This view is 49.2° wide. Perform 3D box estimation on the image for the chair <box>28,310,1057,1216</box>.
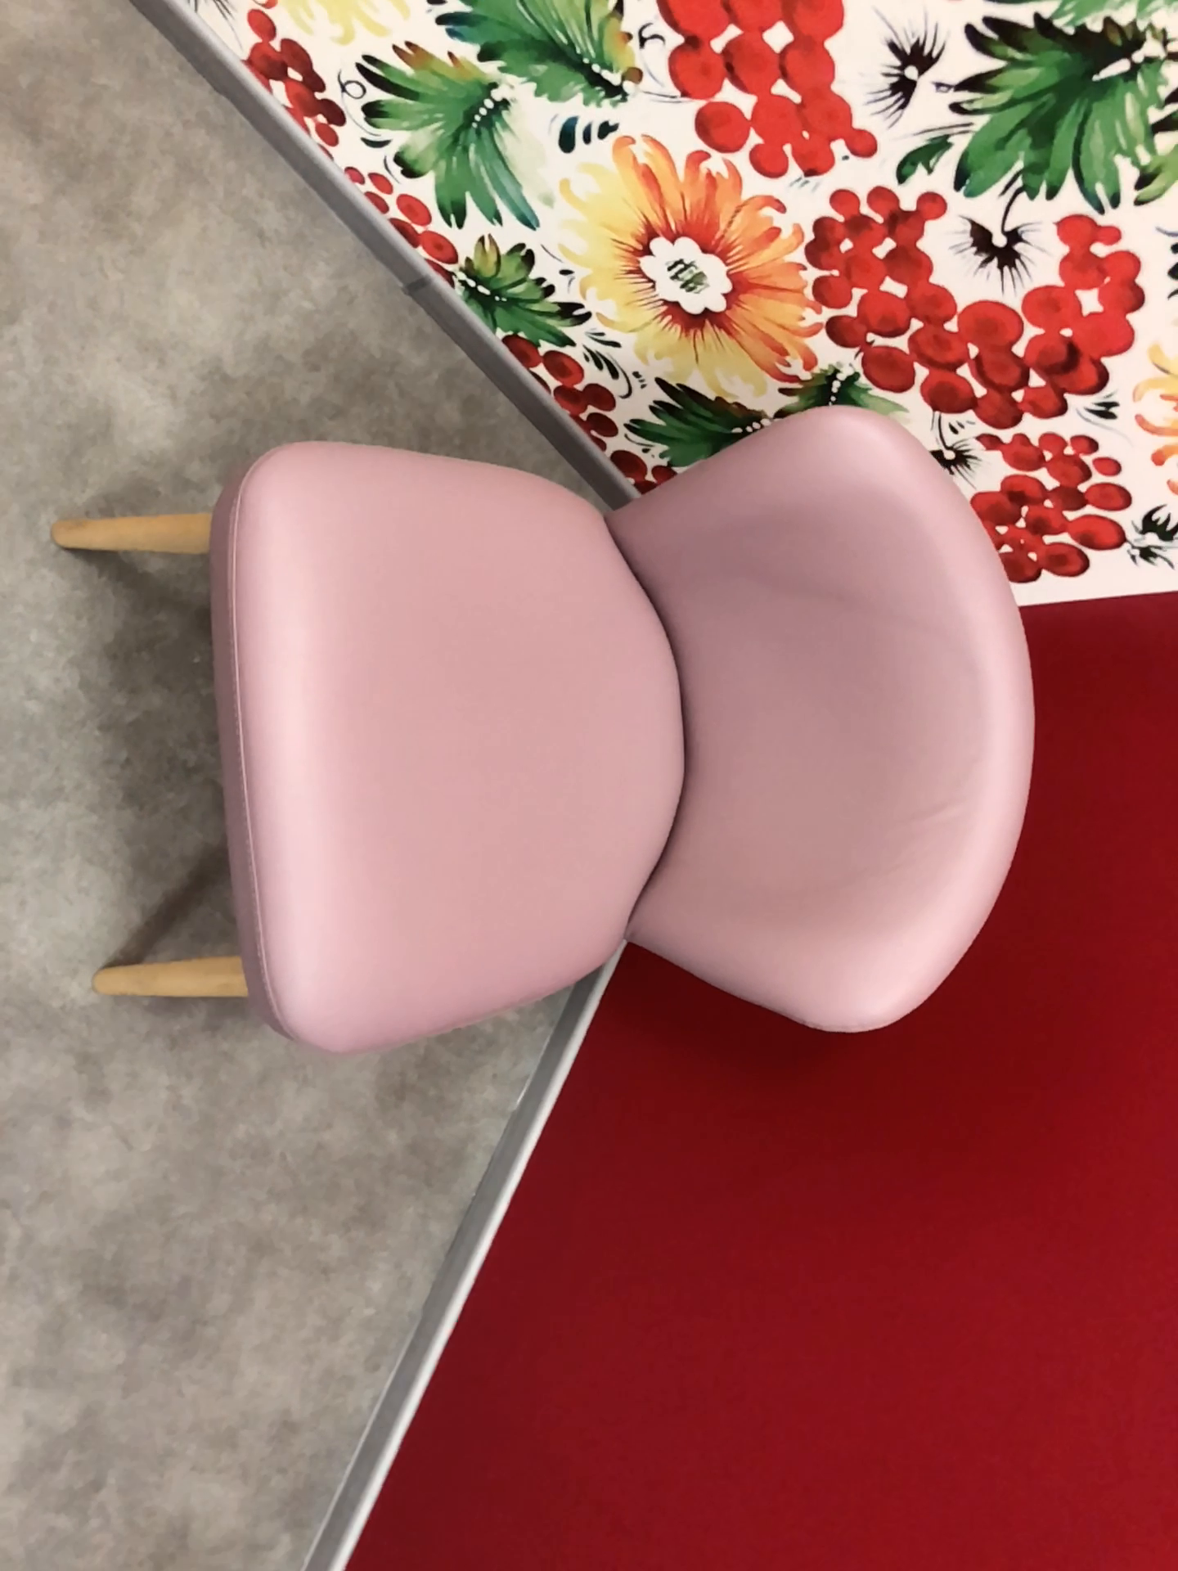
[{"bbox_3d":[-0.084,-0.036,1.195,0.543,0.786,0.510,-8,95,-41],"label":"chair"}]
